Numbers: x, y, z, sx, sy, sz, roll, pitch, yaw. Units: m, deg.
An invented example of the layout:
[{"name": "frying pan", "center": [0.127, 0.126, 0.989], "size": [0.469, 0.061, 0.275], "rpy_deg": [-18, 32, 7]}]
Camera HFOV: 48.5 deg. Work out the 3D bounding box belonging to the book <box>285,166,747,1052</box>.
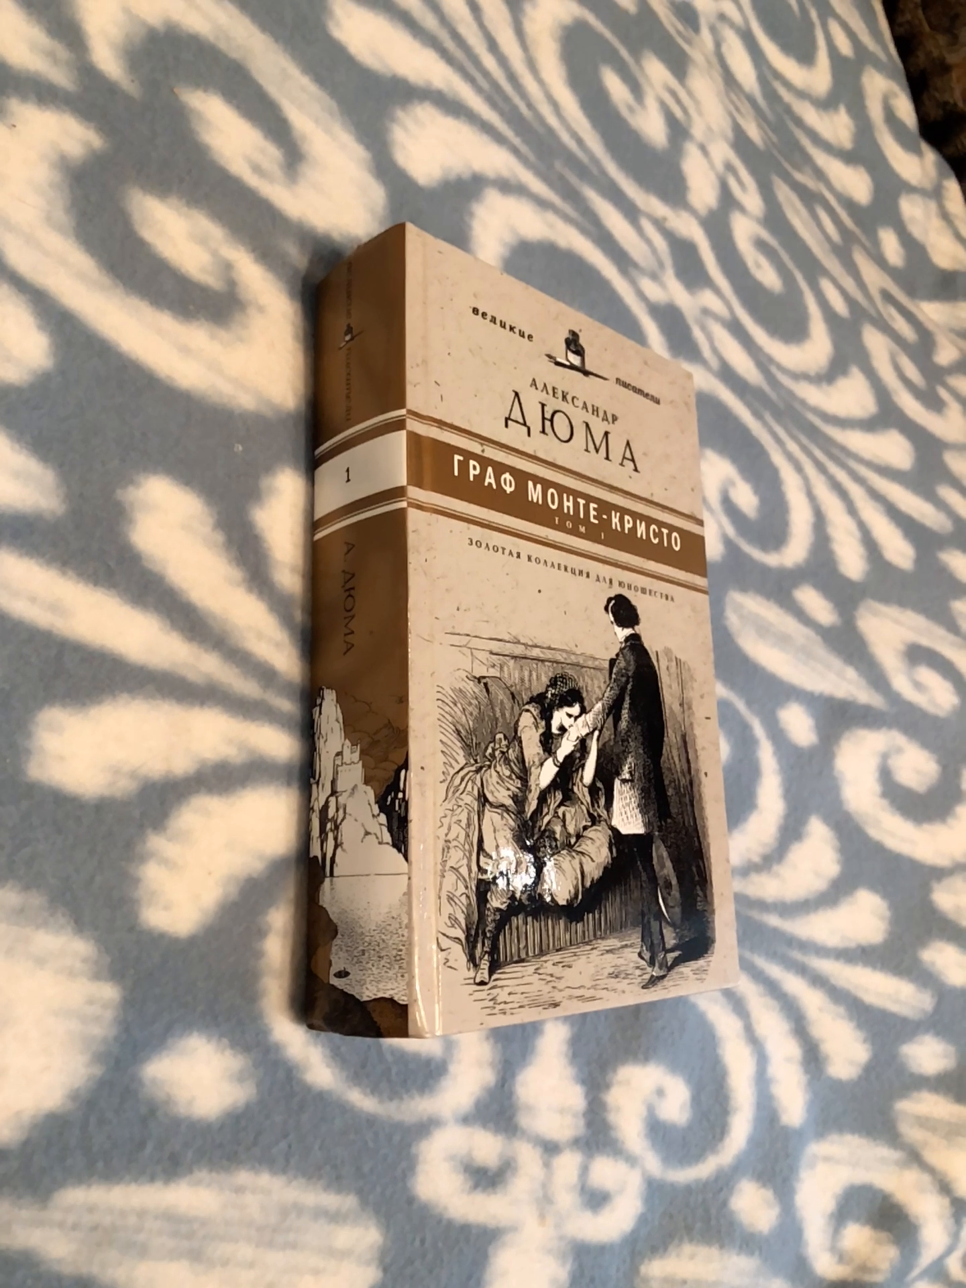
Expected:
[{"name": "book", "center": [0.012, -0.005, 0.310], "size": [0.139, 0.040, 0.212], "rpy_deg": [11, 72, -44]}]
